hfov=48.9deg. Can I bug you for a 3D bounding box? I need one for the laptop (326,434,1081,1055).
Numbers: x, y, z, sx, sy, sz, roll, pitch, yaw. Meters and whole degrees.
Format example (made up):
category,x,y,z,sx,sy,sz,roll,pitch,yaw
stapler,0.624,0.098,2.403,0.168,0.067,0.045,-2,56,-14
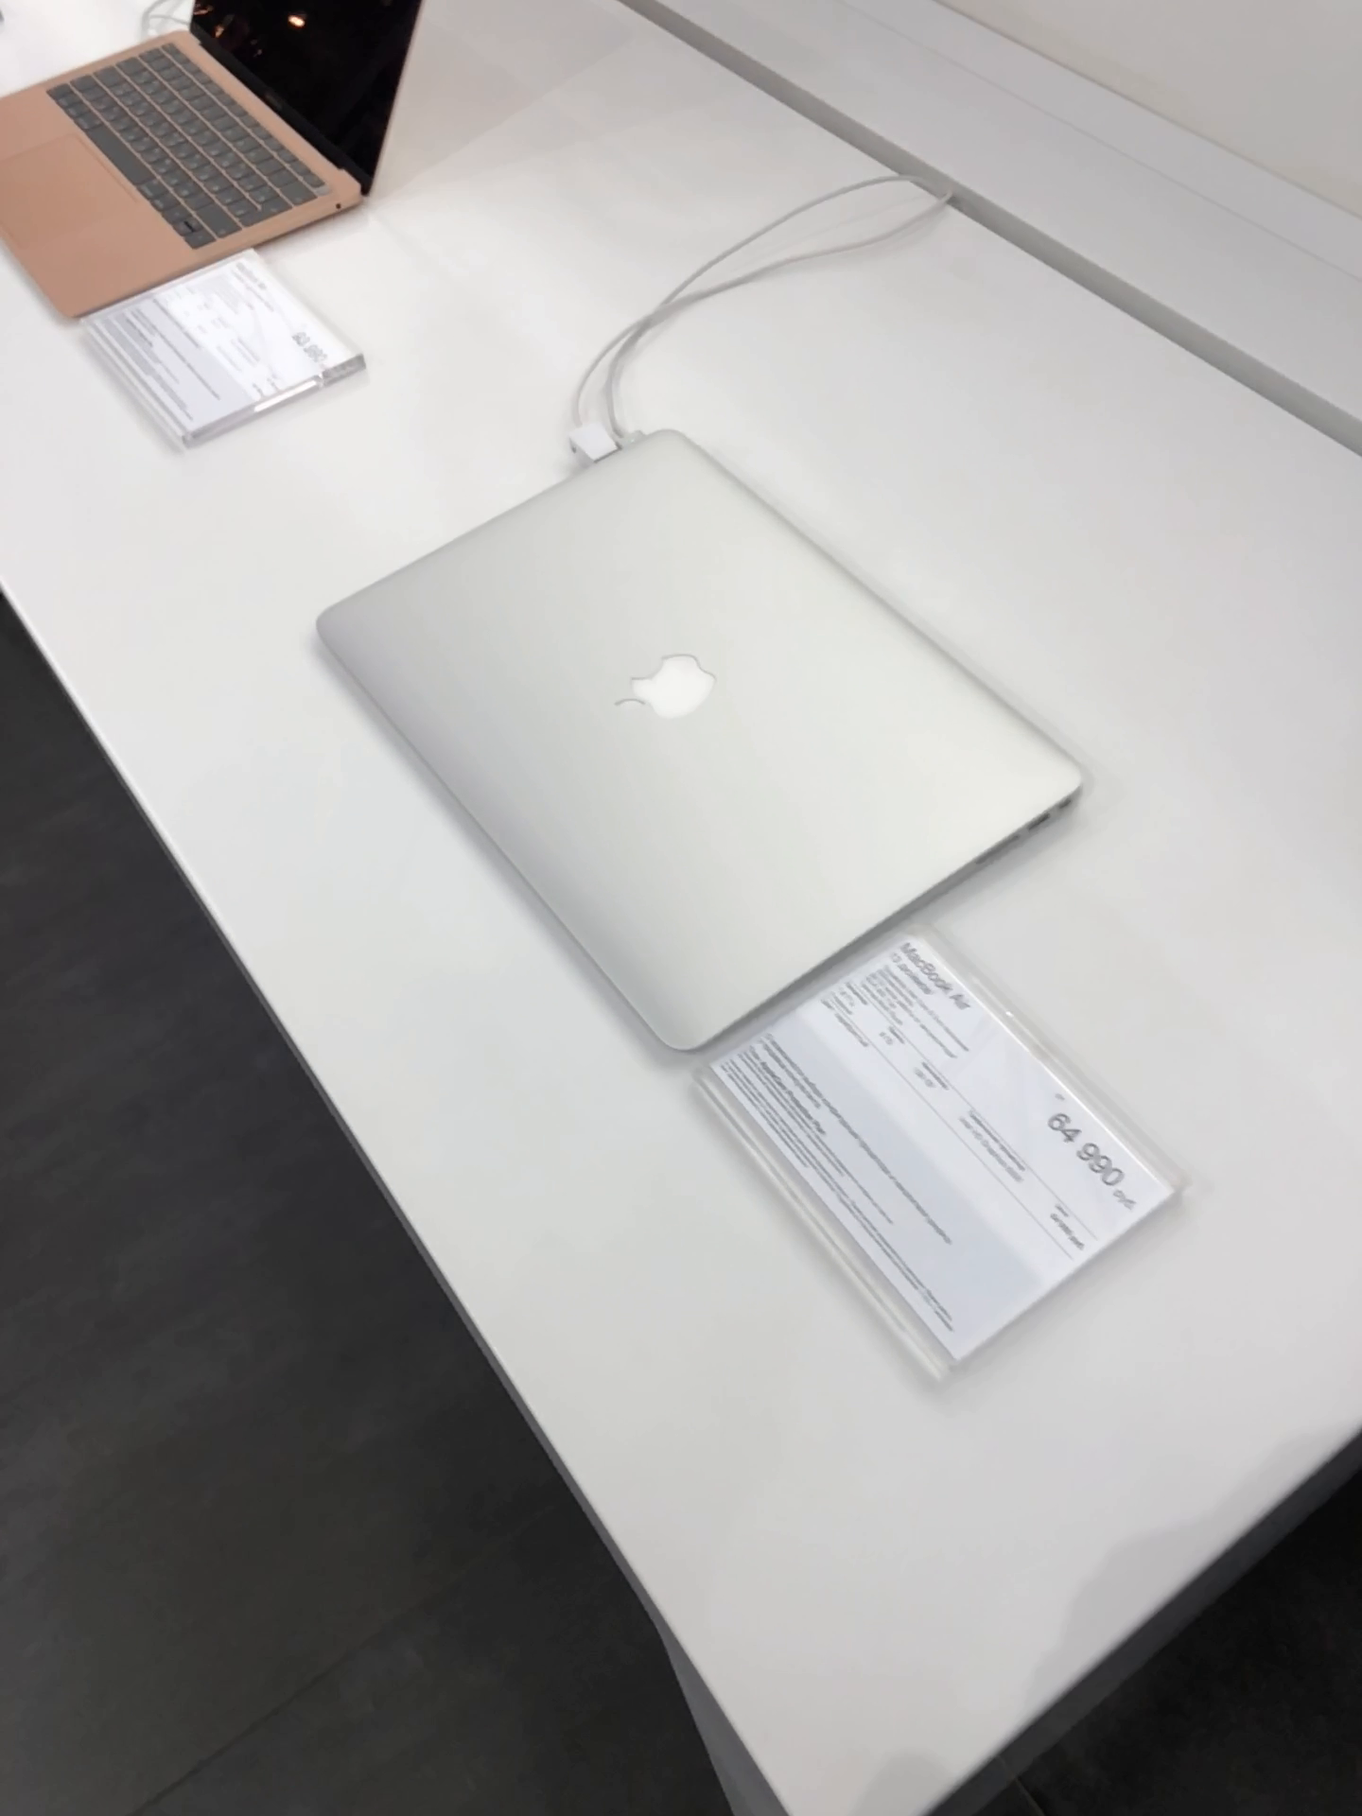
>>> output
category,x,y,z,sx,sy,sz,roll,pitch,yaw
laptop,-0.002,-0.097,0.693,0.209,0.008,0.308,-32,58,-15
